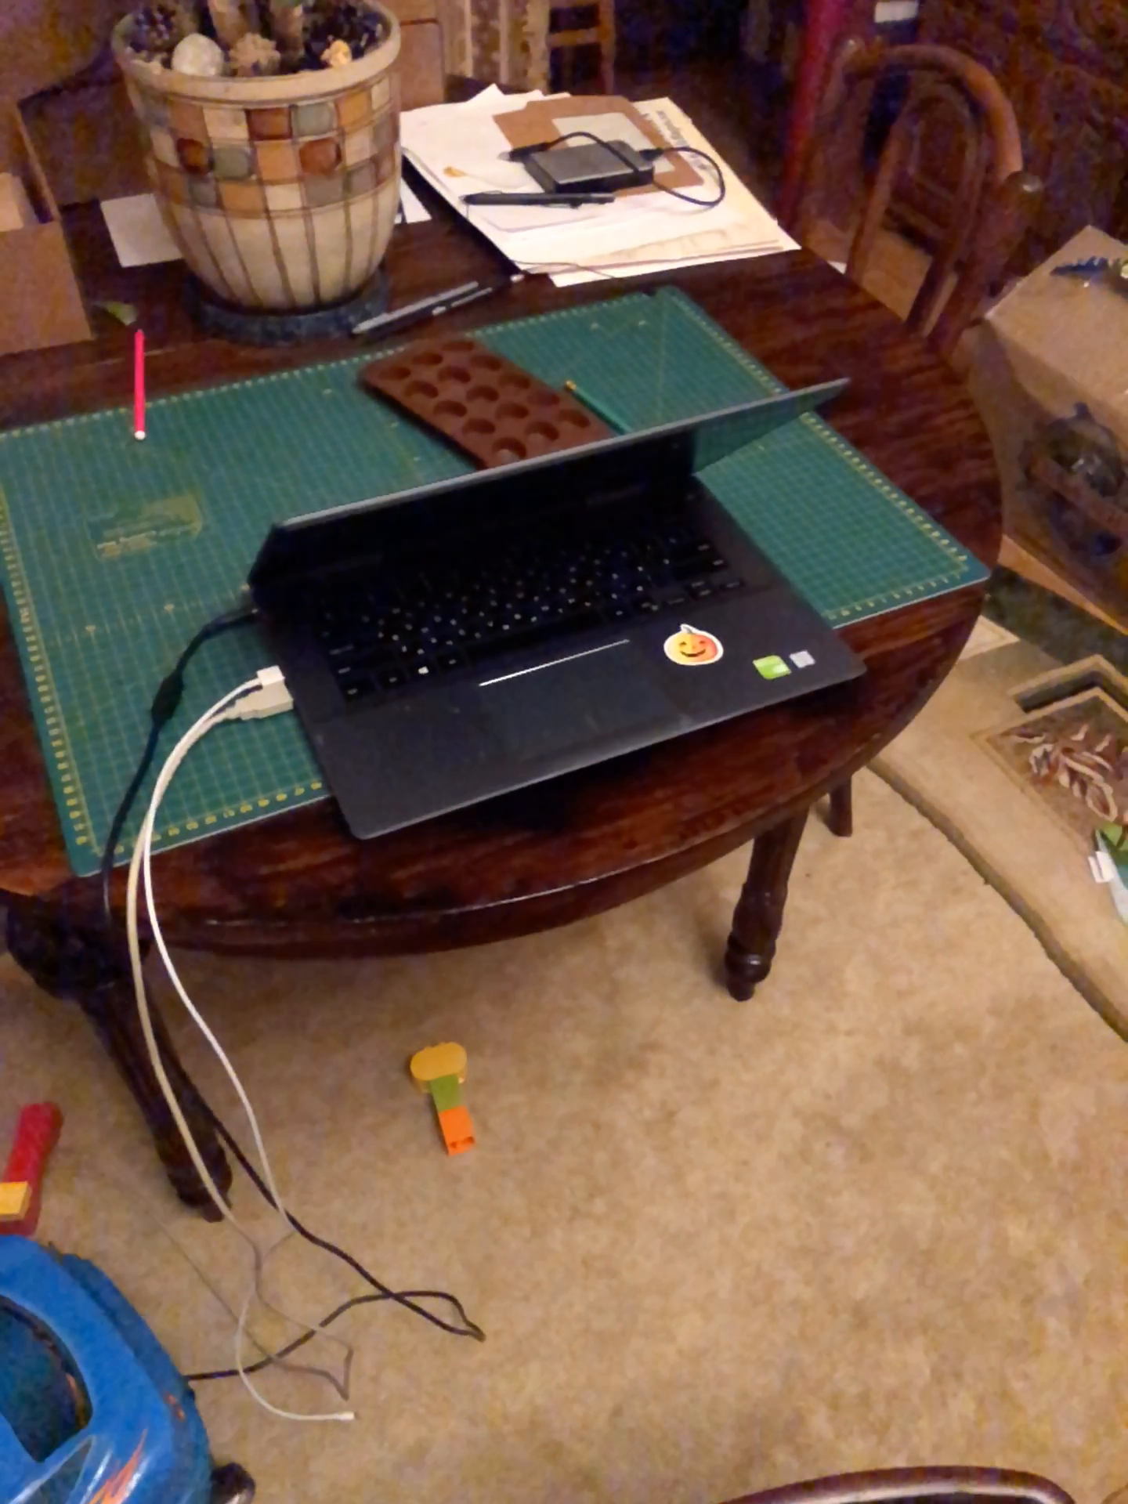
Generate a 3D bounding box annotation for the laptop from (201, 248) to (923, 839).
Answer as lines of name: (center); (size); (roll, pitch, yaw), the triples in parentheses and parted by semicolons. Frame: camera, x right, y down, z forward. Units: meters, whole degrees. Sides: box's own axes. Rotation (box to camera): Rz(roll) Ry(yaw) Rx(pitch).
laptop: (-0.009, -0.133, 0.711); (0.317, 0.162, 0.225); (-18, 50, -17)
